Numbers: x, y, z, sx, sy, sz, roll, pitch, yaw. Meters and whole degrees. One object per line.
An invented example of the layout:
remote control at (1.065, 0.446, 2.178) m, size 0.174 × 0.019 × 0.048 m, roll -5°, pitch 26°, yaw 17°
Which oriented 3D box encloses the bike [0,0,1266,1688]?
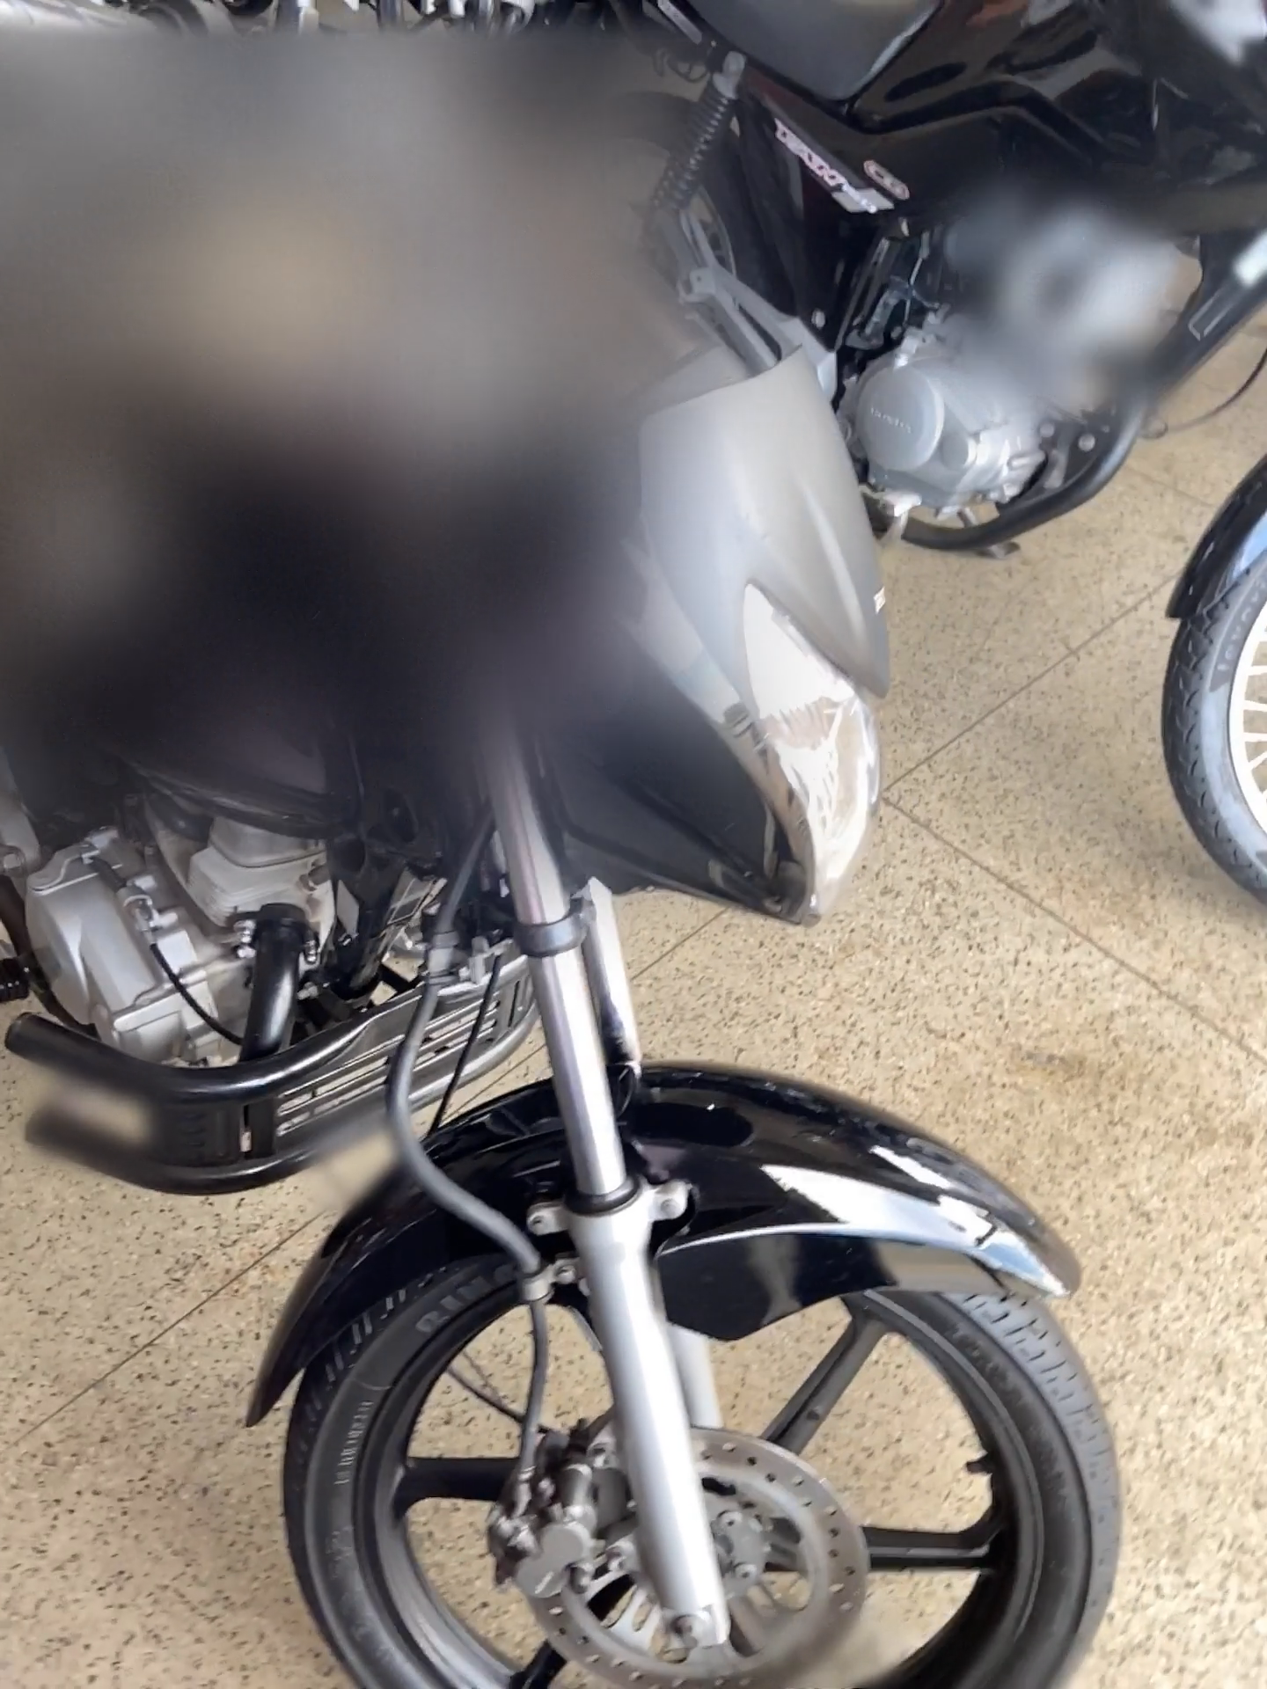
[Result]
bike at (-0.258, -0.183, 1.154) m, size 1.740 × 1.138 × 0.775 m, roll 35°, pitch 60°, yaw 28°
